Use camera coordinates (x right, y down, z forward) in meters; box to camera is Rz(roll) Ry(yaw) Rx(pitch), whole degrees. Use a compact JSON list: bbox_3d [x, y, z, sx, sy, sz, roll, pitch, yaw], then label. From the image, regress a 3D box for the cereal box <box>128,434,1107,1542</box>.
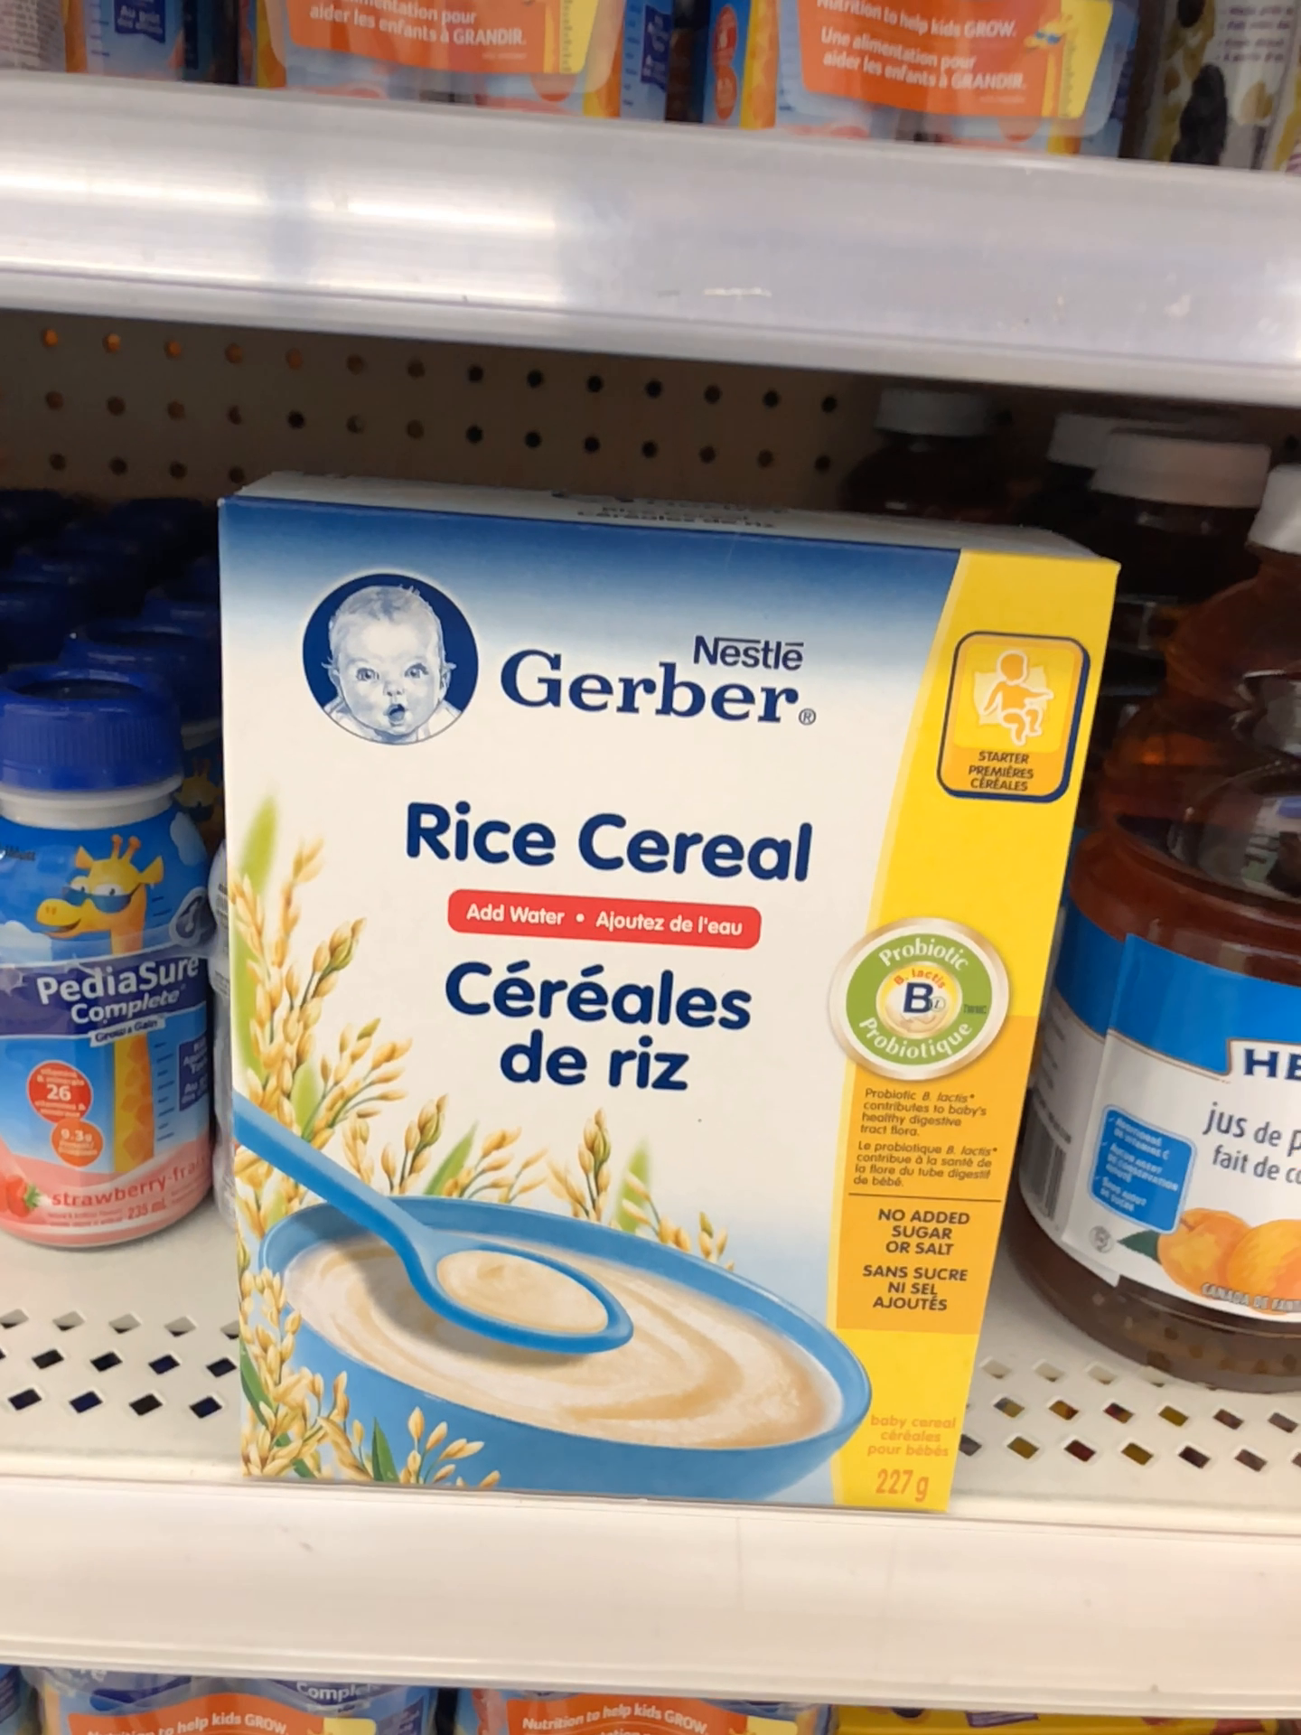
[{"bbox_3d":[-0.013,0.027,0.283,0.150,0.199,0.060,4,20,-3],"label":"cereal box"}]
